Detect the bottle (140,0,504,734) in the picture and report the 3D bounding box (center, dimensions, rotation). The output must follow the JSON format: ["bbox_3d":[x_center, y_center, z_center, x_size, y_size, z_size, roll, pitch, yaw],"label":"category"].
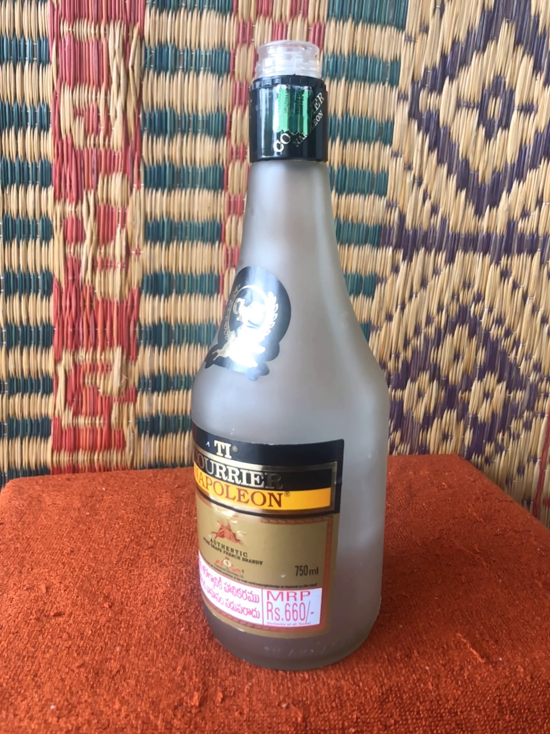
[{"bbox_3d":[0.014,-0.002,0.258,0.100,0.249,0.090,15,20,40],"label":"bottle"}]
